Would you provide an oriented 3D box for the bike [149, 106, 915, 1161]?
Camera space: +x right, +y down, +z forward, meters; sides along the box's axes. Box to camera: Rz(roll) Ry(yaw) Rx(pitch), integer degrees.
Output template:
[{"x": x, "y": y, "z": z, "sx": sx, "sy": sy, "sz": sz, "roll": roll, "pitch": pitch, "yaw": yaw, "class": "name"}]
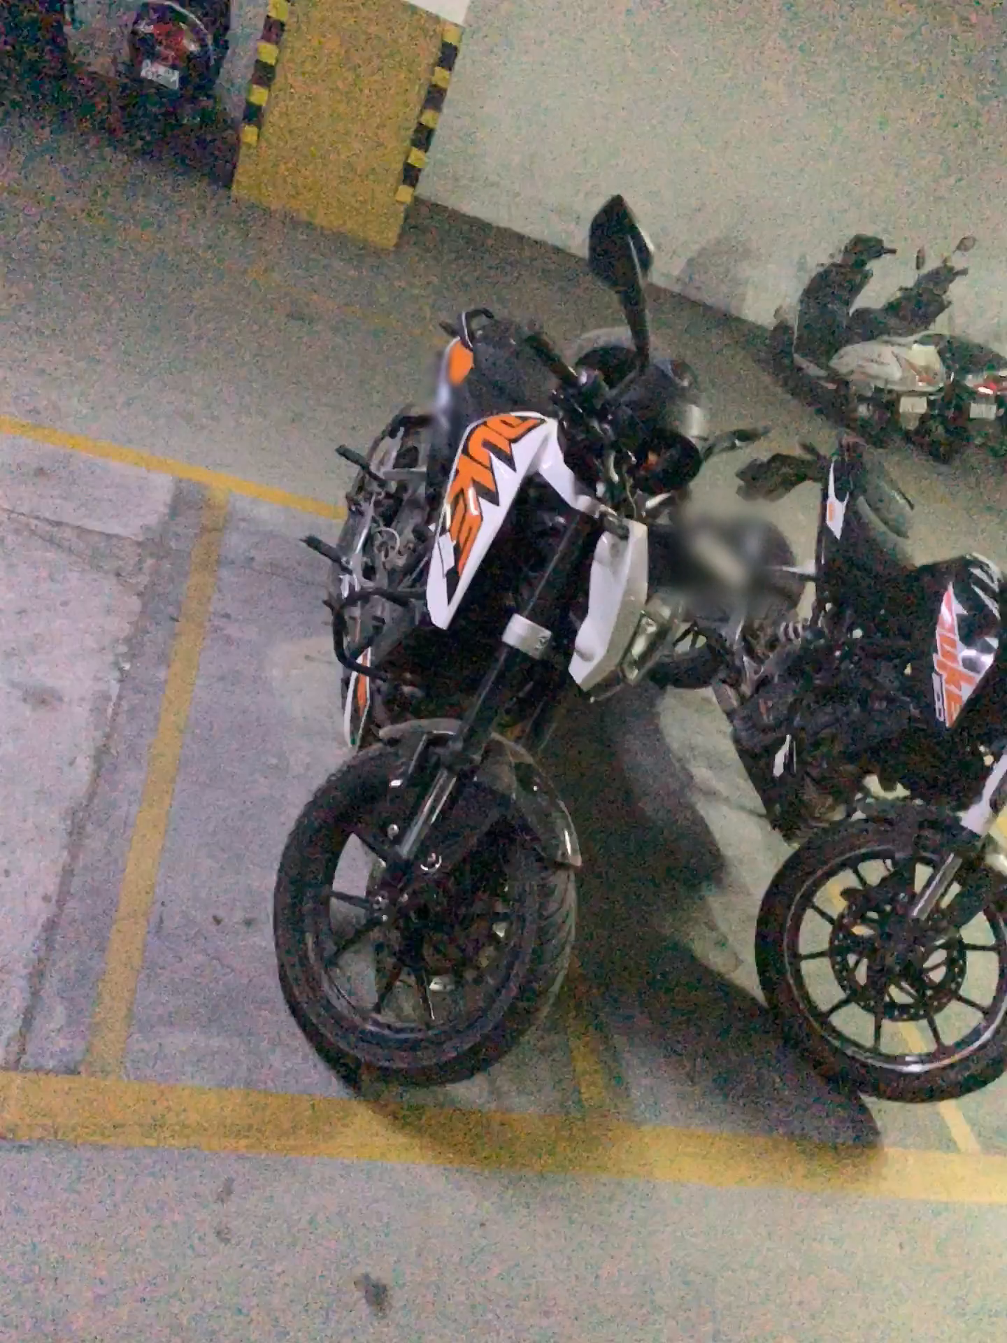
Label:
[{"x": -0.117, "y": -0.221, "z": 2.273, "sx": 0.803, "sy": 1.181, "sz": 1.921, "roll": 13, "pitch": 37, "yaw": -19, "class": "bike"}]
